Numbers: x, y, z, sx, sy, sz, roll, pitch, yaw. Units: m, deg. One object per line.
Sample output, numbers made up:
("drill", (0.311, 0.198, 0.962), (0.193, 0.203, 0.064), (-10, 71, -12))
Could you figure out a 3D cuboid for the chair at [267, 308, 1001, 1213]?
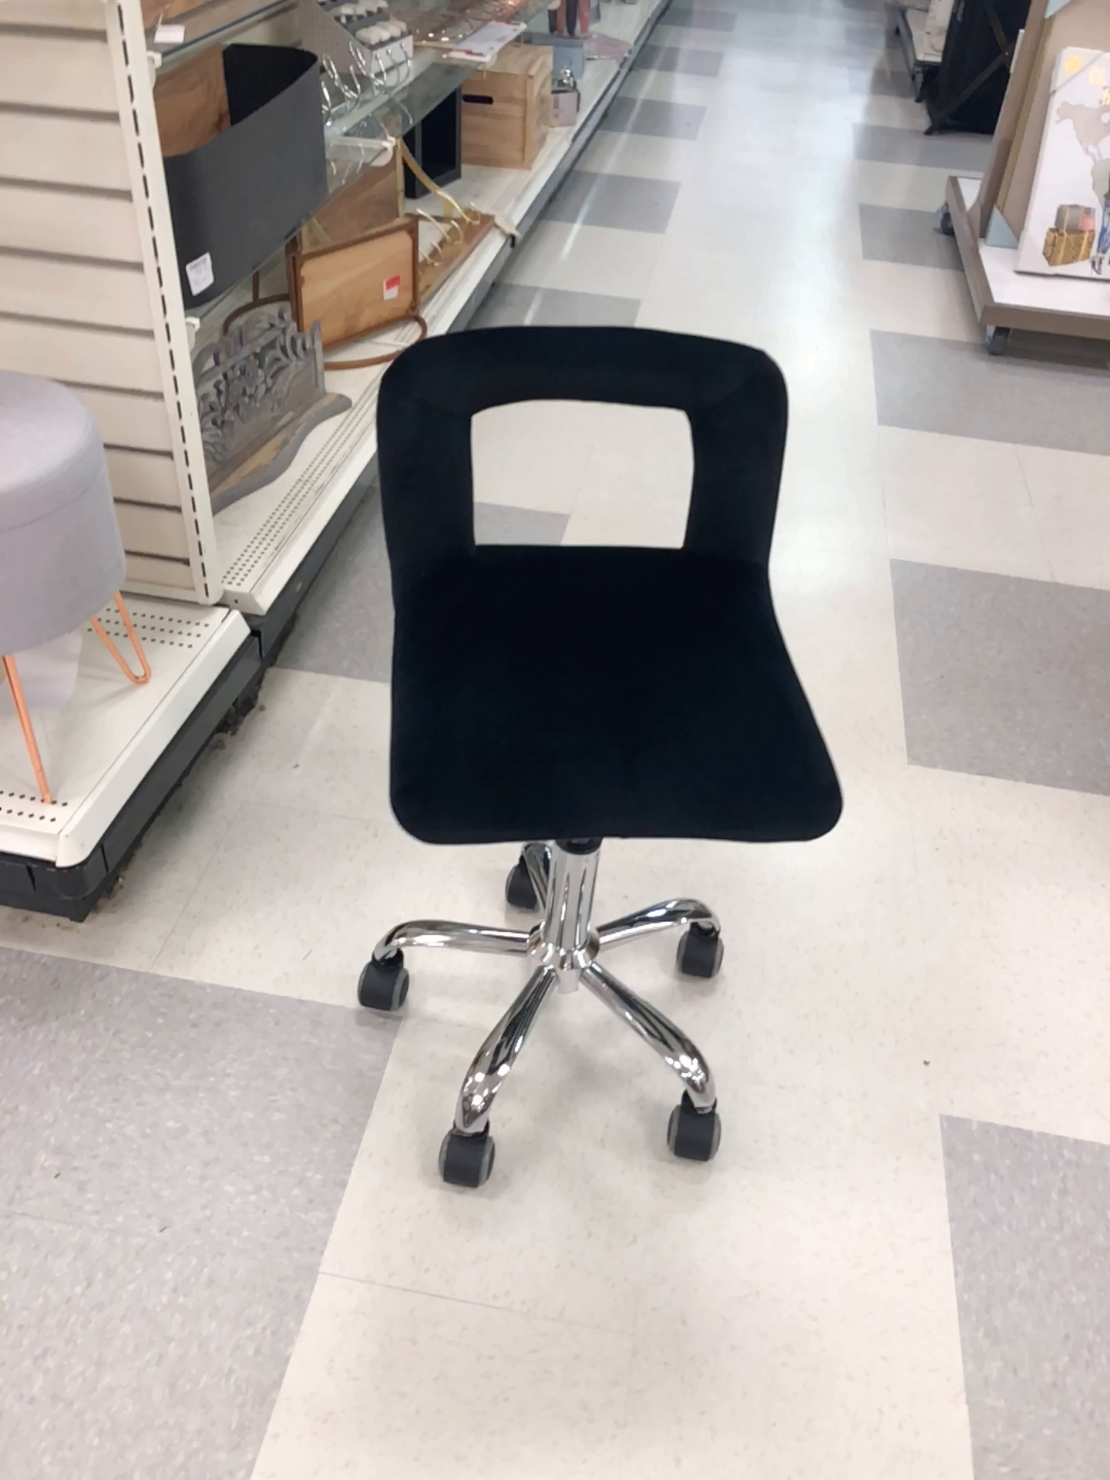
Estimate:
("chair", (0.015, 0.030, 1.160), (0.461, 0.693, 0.488), (0, 39, -6))
